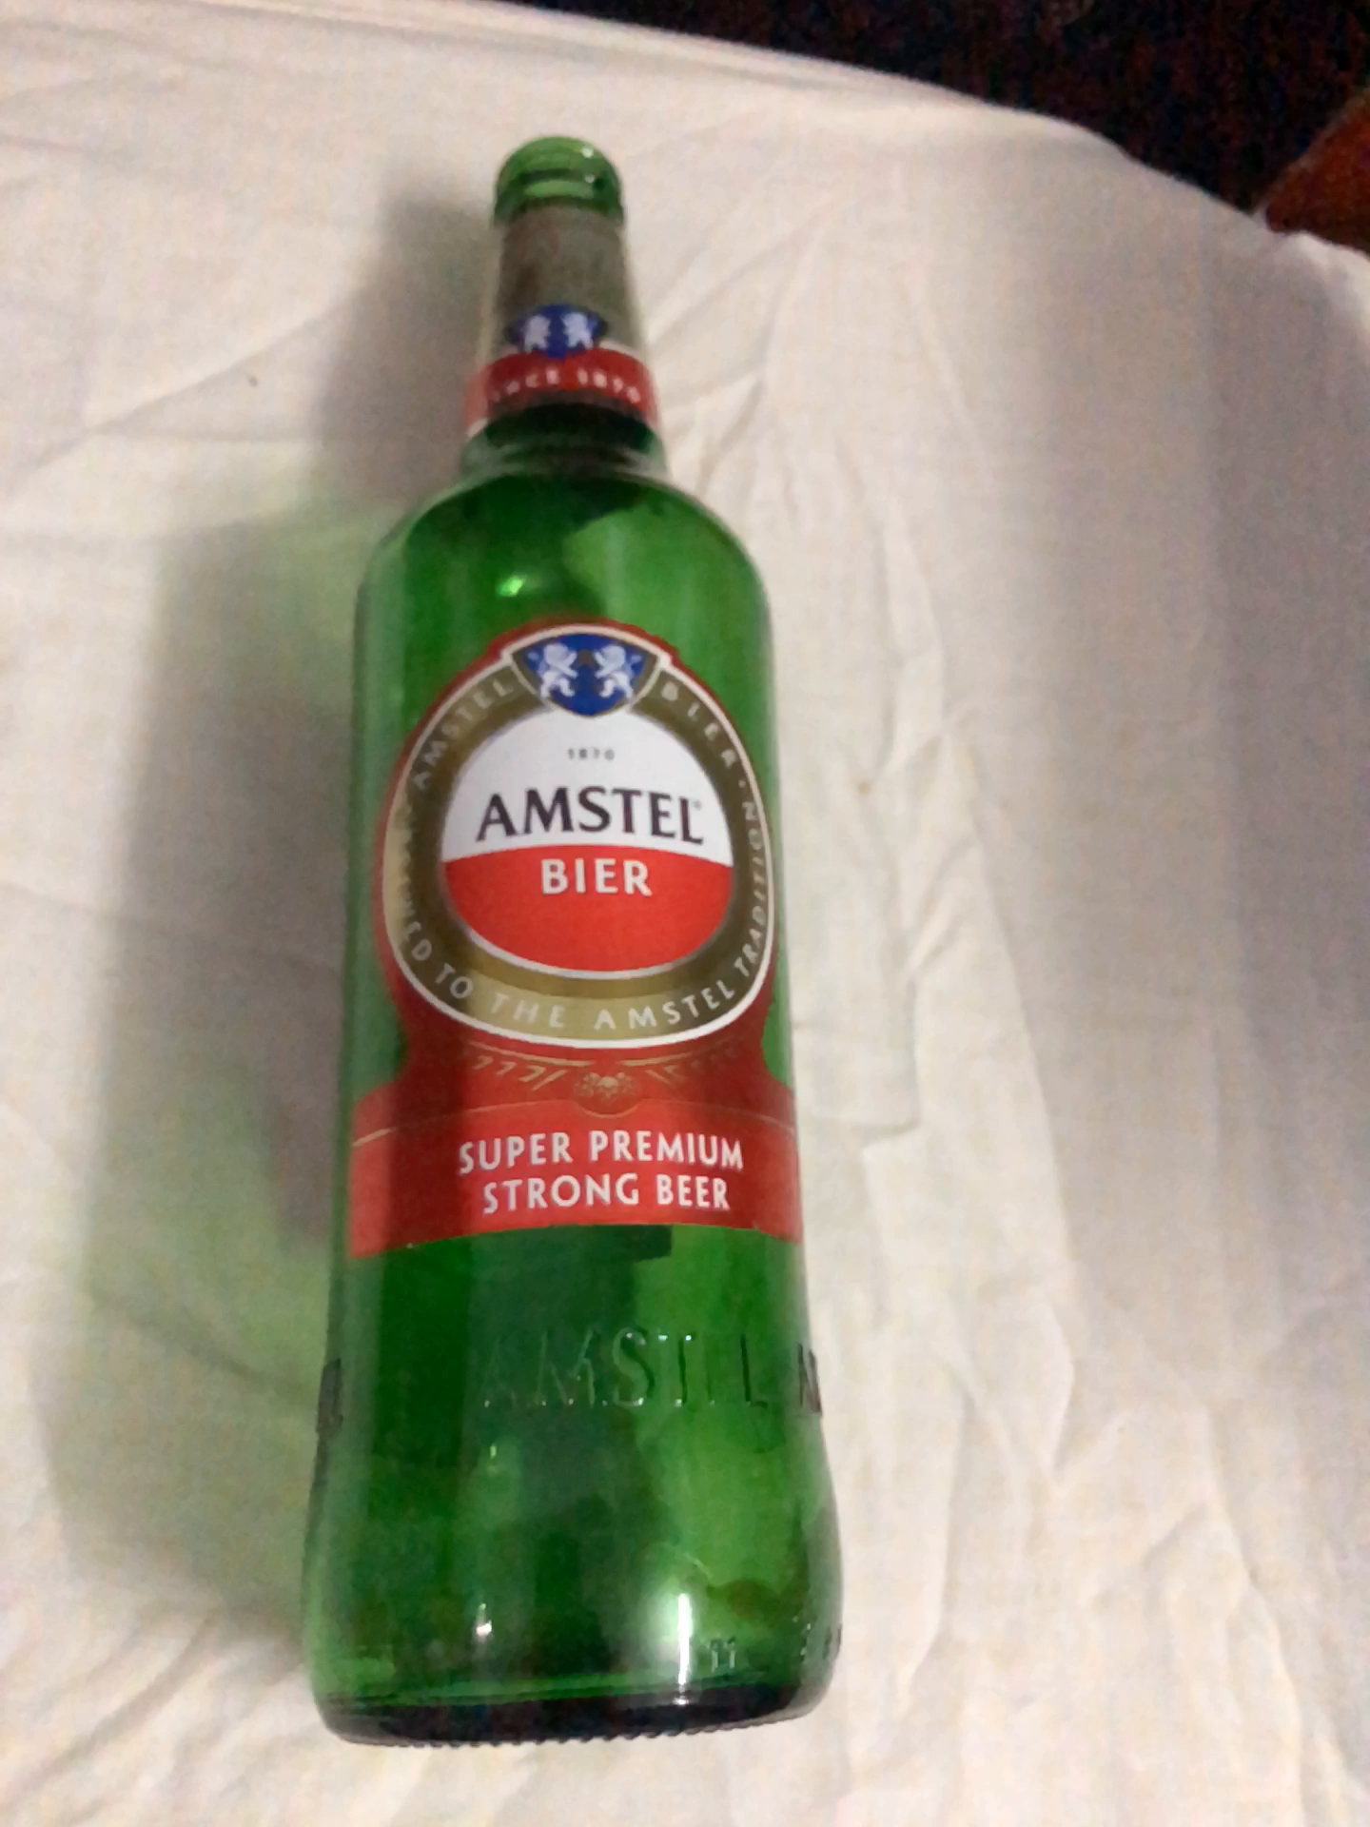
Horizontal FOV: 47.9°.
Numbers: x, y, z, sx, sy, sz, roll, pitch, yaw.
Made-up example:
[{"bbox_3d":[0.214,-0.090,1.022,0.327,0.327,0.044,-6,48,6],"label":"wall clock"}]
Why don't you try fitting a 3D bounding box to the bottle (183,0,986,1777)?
[{"bbox_3d":[-0.030,-0.053,0.284,0.090,0.080,0.360,2,64,-13],"label":"bottle"}]
